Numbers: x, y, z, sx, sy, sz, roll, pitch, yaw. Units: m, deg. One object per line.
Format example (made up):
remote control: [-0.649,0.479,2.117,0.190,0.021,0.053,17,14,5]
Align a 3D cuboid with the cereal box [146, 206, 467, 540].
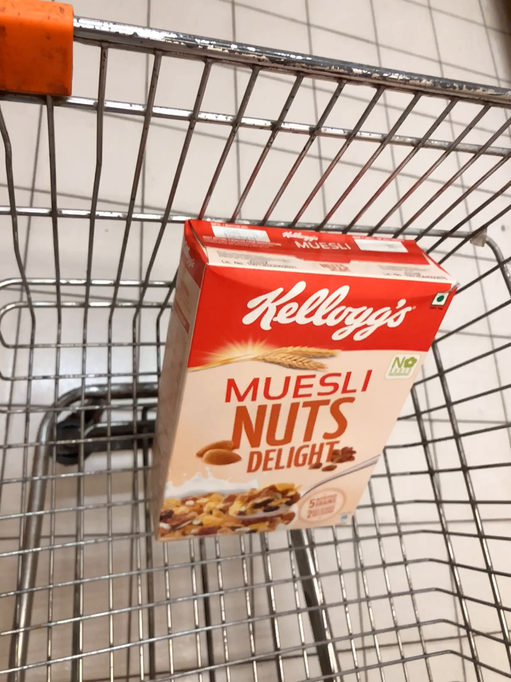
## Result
cereal box: [0.022,0.036,0.444,0.180,0.249,0.070,2,33,-20]
